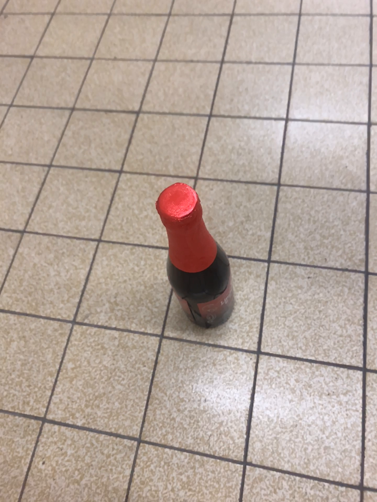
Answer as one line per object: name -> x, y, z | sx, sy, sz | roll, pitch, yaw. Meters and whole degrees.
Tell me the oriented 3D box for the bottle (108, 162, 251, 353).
bottle -> 0.009, 0.021, 0.344 | 0.070, 0.199, 0.070 | -4, 64, 7
